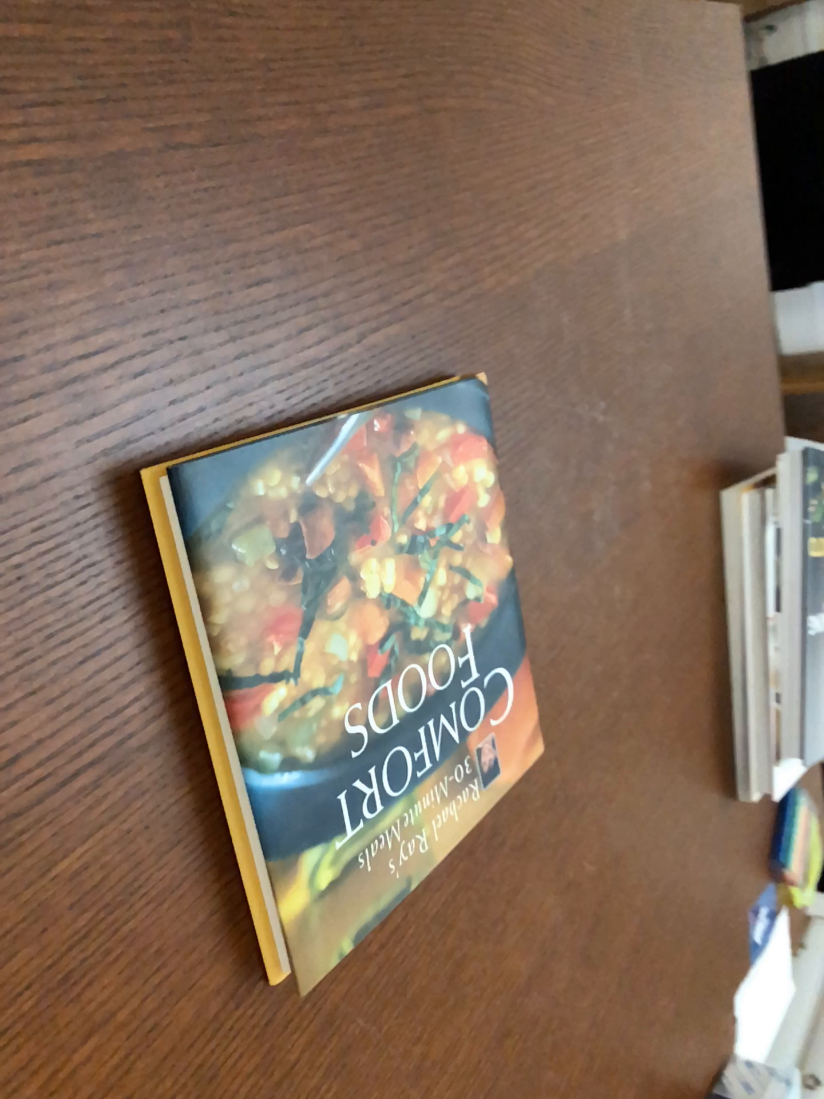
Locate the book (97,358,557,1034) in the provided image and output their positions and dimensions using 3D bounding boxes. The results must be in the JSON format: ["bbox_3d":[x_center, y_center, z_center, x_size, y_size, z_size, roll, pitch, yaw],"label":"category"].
[{"bbox_3d":[-0.012,0.041,0.383,0.201,0.030,0.210,-27,112,-50],"label":"book"}]
